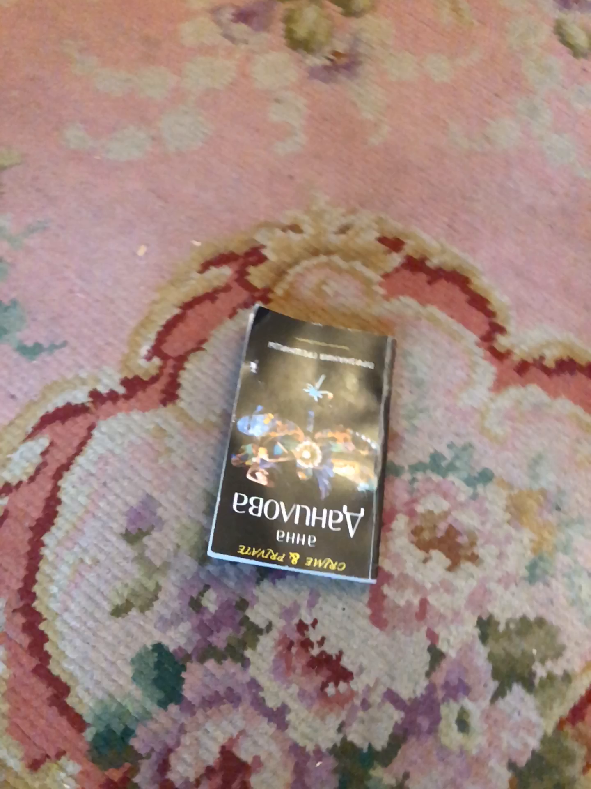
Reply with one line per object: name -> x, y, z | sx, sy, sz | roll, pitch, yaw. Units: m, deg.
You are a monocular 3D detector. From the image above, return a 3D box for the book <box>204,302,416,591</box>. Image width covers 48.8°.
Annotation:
book -> 0.012, 0.034, 0.424 | 0.110, 0.050, 0.165 | 9, 70, -2
